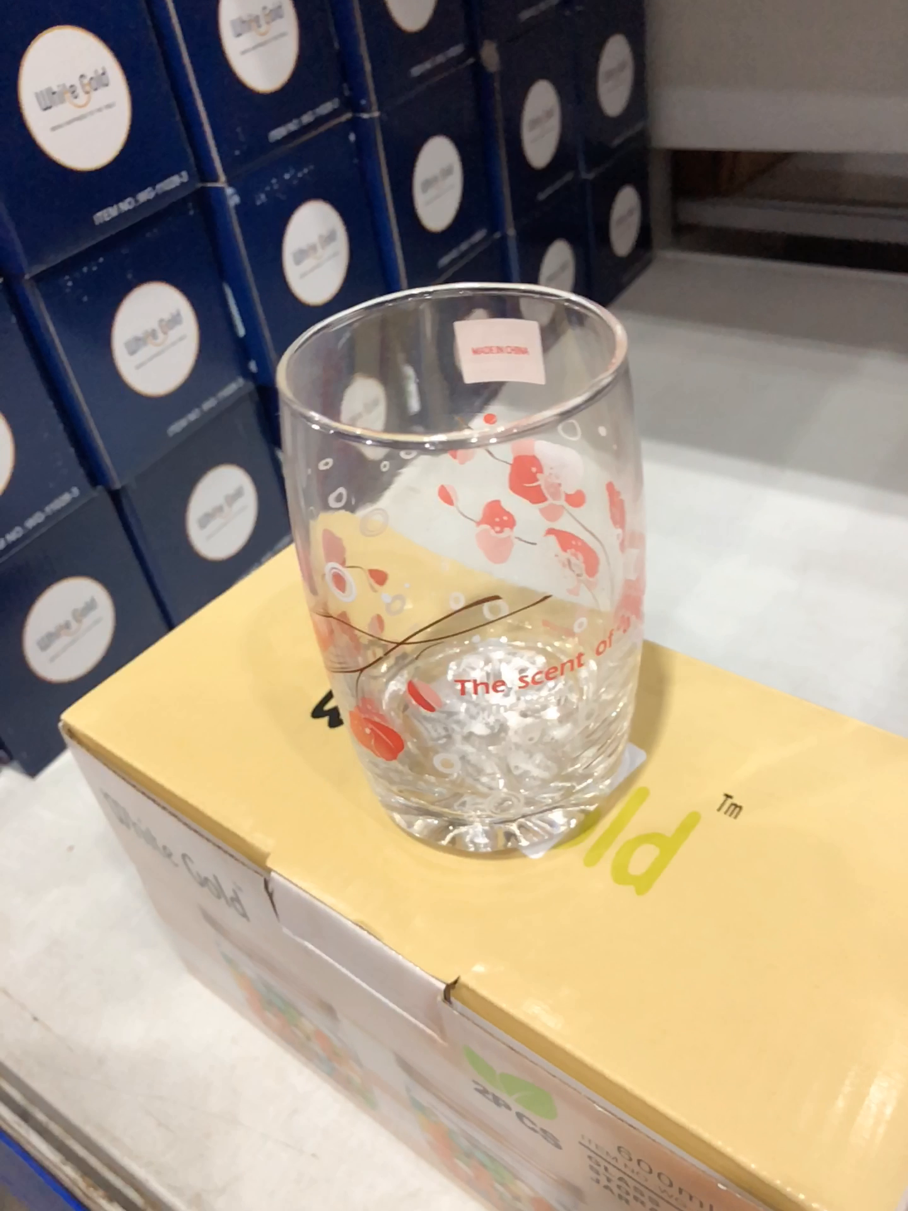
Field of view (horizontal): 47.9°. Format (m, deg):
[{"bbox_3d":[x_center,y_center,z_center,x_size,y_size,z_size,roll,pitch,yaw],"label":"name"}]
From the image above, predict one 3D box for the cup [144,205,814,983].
[{"bbox_3d":[0.009,-0.006,0.206,0.080,0.109,0.080,-6,40,5],"label":"cup"}]
